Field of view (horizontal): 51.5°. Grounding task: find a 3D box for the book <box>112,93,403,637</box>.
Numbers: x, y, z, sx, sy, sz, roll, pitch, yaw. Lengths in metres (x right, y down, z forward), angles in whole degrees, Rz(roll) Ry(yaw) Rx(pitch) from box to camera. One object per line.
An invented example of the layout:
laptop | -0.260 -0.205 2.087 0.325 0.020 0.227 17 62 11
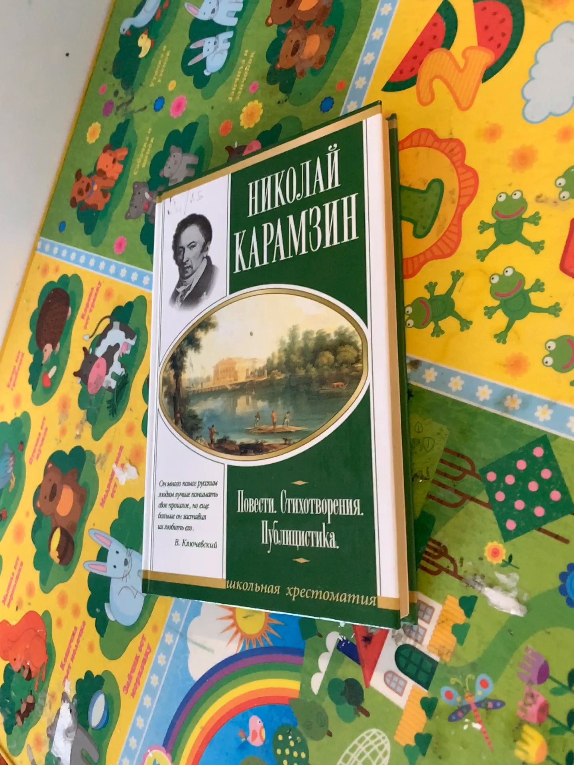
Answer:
book | -0.020 -0.006 0.258 0.136 0.020 0.197 -7 77 36
